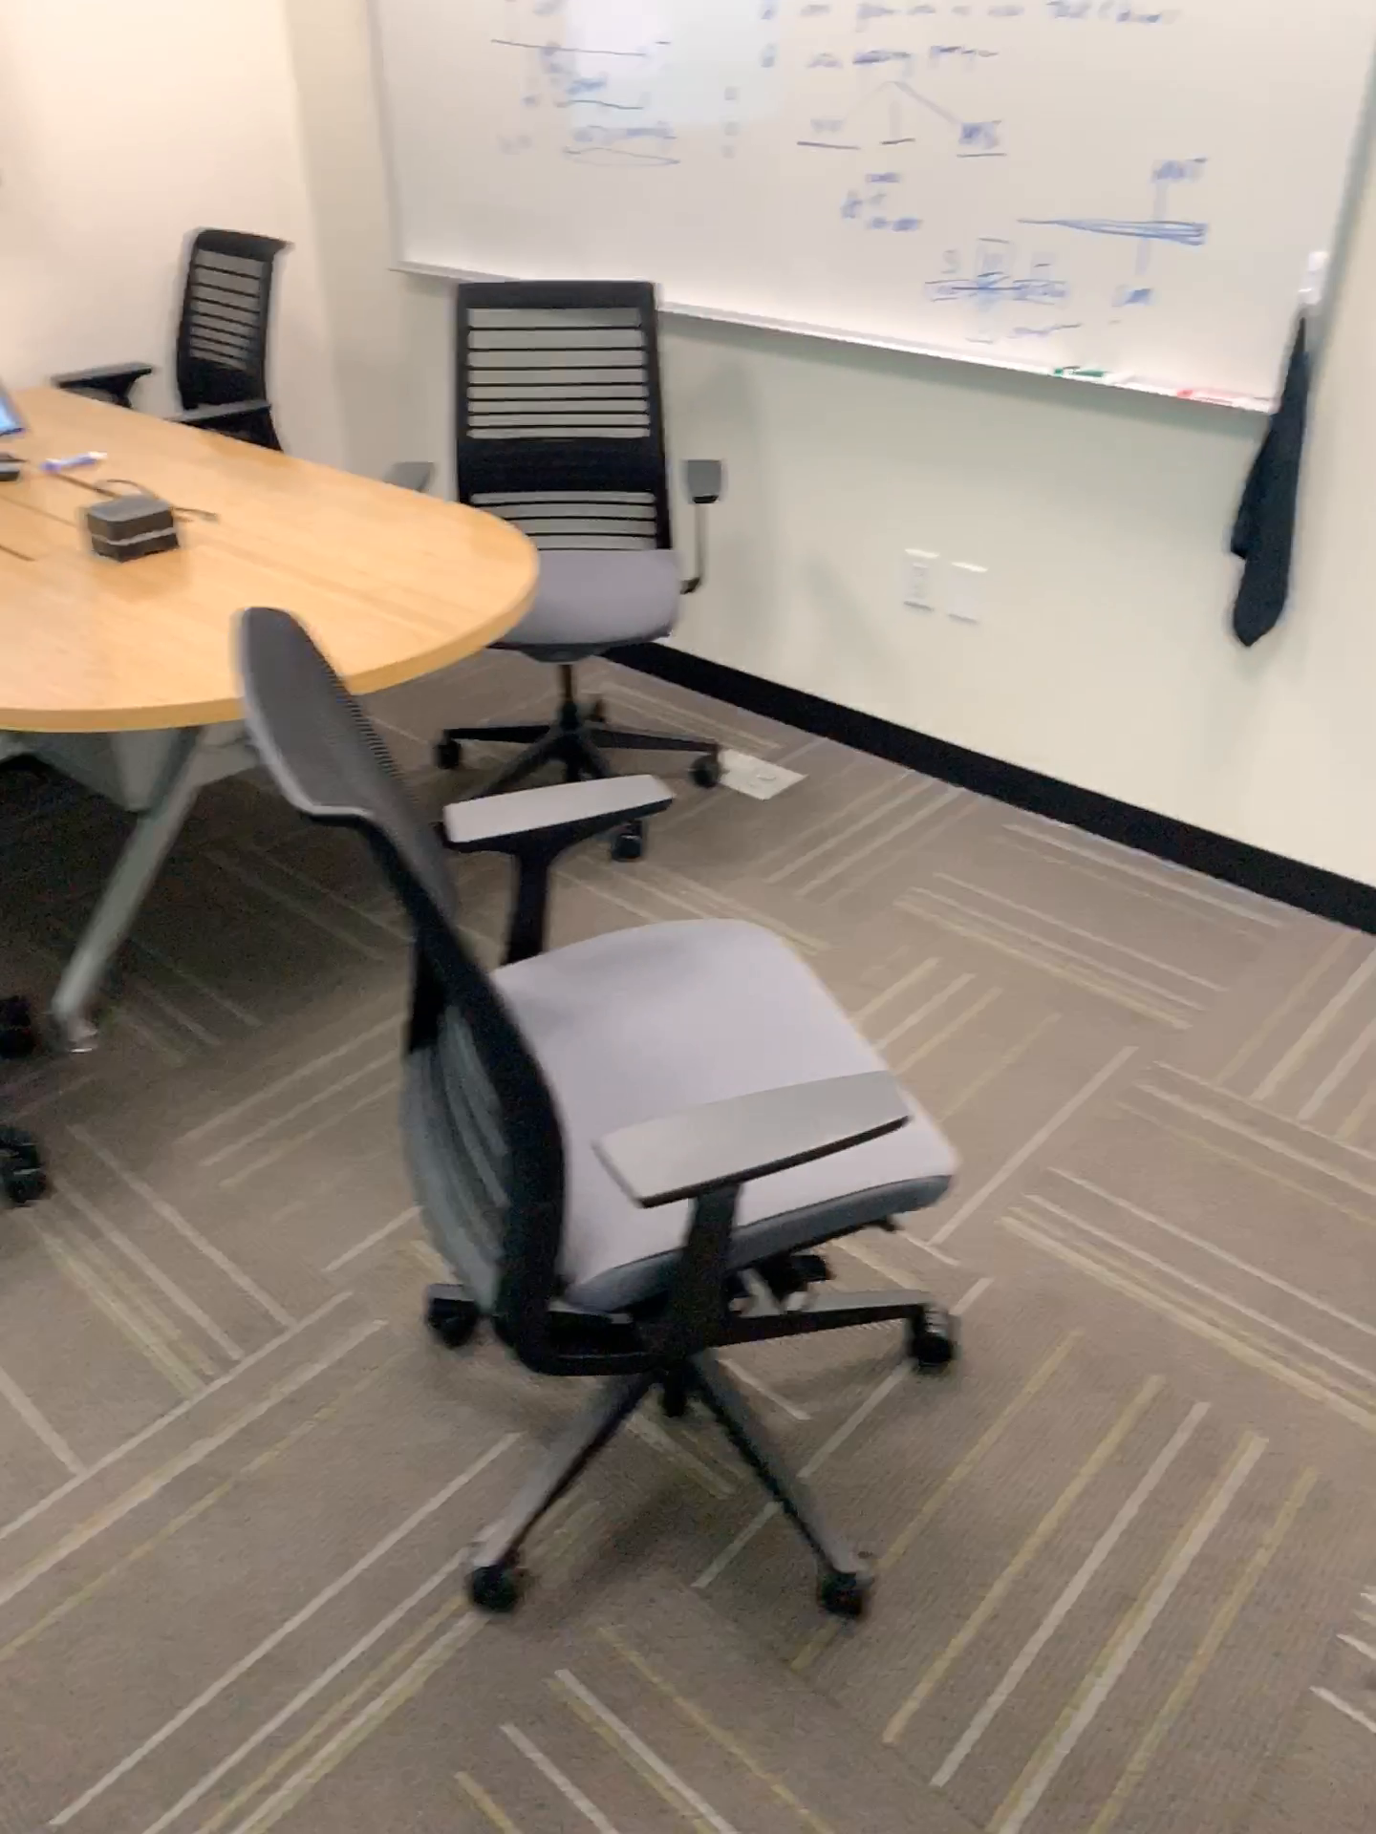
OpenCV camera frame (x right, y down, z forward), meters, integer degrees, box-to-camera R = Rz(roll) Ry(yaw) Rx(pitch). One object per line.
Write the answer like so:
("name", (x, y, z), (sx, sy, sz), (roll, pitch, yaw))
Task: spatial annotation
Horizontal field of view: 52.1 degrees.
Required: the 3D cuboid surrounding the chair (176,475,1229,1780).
("chair", (-0.044, 0.175, 1.432), (0.690, 0.995, 0.654), (-11, 34, -16))
